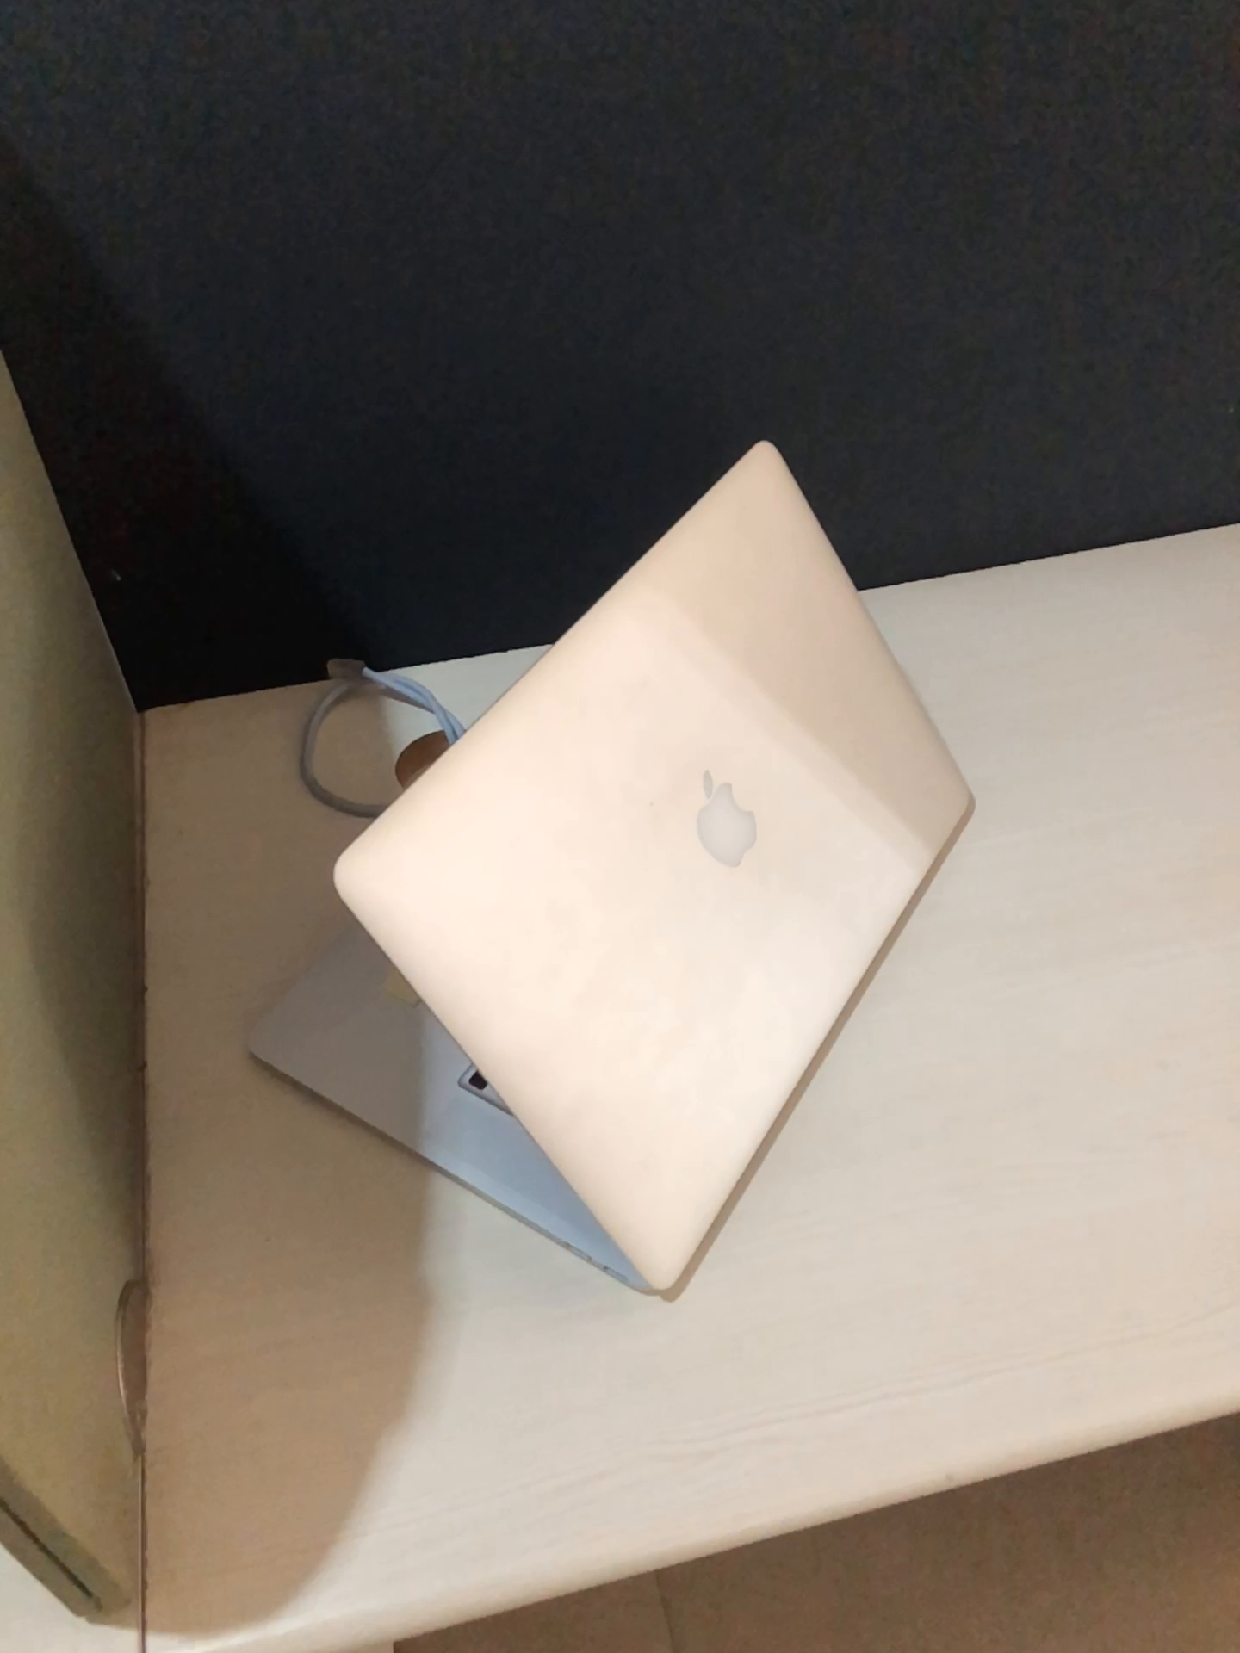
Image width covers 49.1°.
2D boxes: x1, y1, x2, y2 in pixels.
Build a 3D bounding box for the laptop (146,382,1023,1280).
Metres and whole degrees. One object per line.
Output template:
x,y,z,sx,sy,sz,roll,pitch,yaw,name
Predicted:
0.006,-0.022,0.663,0.235,0.198,0.344,23,51,22,laptop
